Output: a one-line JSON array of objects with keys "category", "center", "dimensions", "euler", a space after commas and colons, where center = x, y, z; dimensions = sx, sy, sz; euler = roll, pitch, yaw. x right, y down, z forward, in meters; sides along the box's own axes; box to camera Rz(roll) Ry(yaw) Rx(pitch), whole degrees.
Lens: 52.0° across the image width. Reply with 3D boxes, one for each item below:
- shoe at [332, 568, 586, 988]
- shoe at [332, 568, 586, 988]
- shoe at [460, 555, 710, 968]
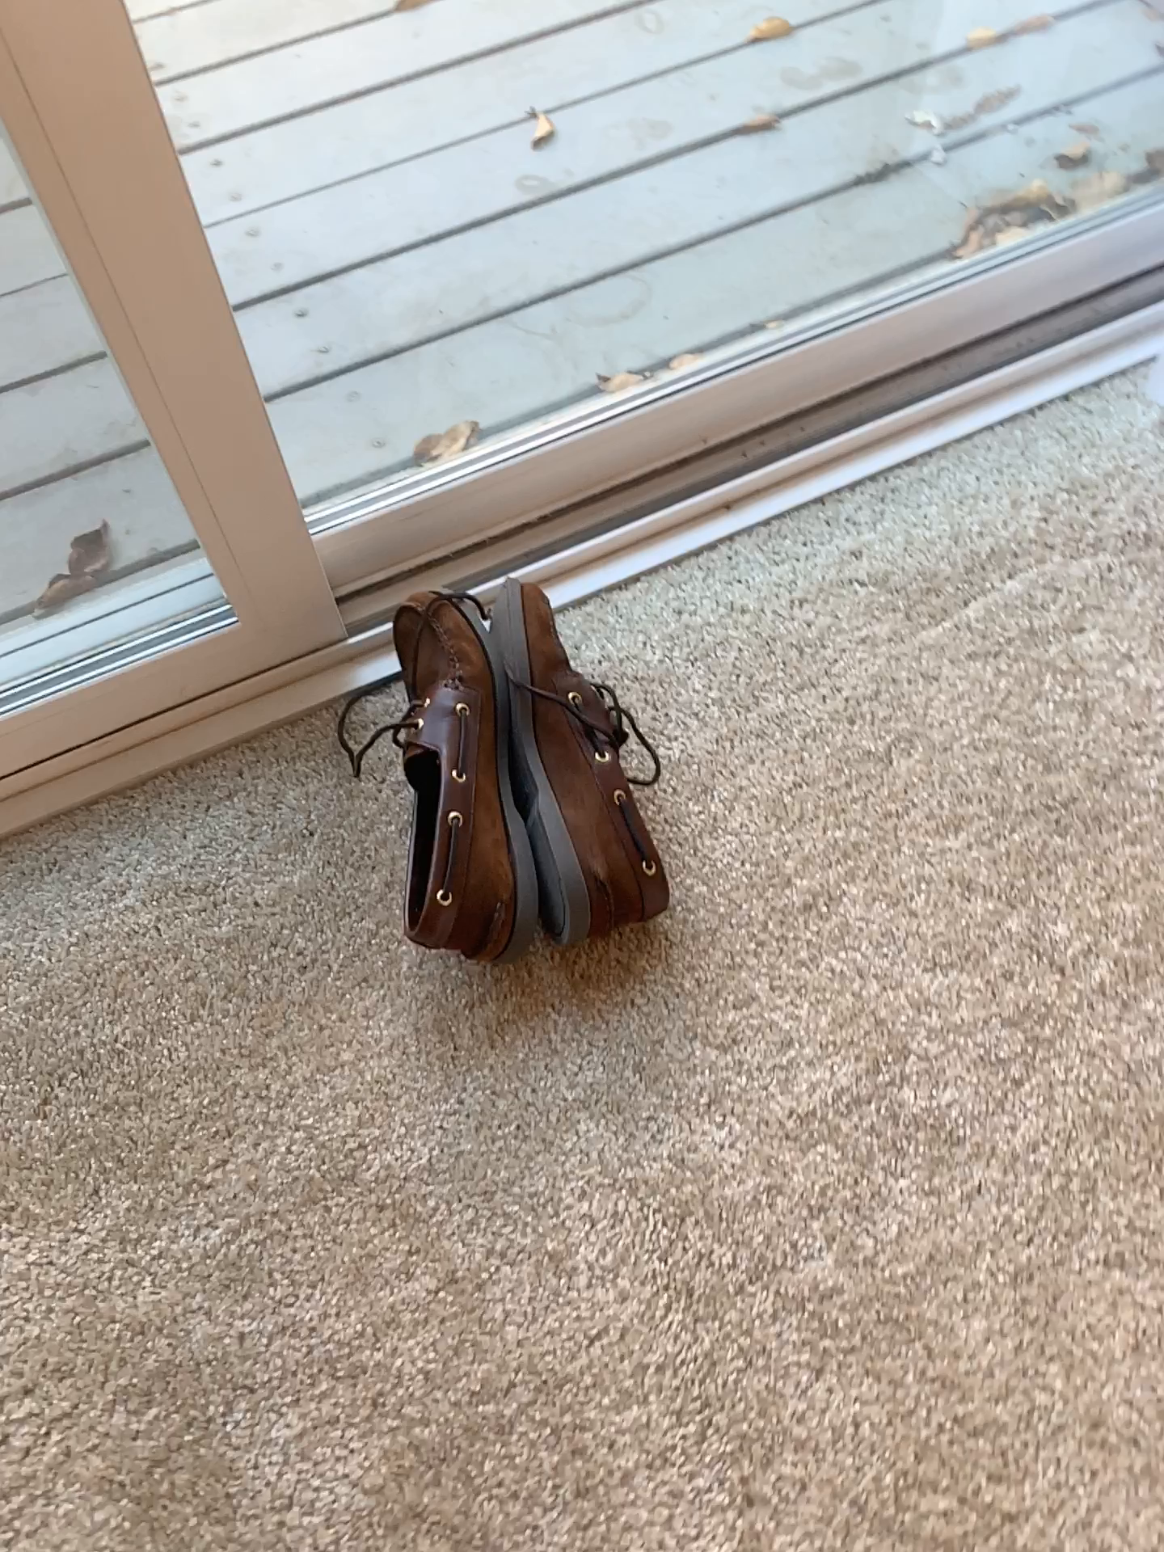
[{"category": "shoe", "center": [-0.098, -0.007, 0.853], "dimensions": [0.090, 0.110, 0.281], "euler": [-5, 57, -25]}, {"category": "shoe", "center": [-0.098, -0.007, 0.853], "dimensions": [0.090, 0.110, 0.281], "euler": [-5, 57, -25]}, {"category": "shoe", "center": [-0.008, -0.016, 0.855], "dimensions": [0.090, 0.110, 0.271], "euler": [-9, 60, -17]}]
